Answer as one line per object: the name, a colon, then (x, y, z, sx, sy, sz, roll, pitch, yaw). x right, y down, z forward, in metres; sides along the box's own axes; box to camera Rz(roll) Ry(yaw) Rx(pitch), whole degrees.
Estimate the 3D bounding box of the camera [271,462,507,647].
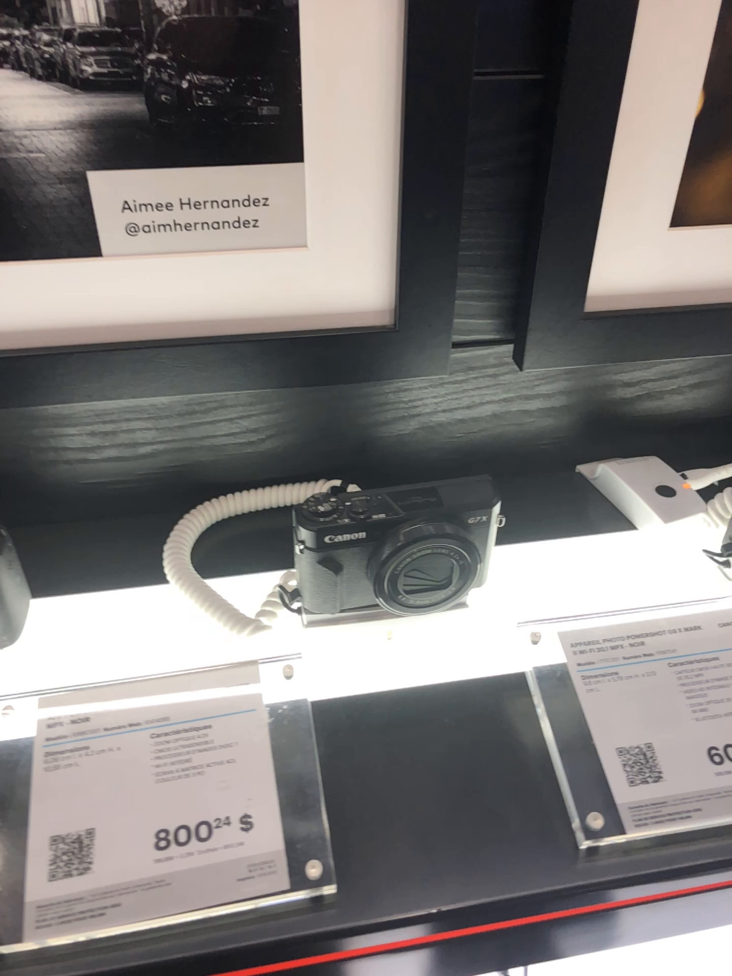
camera: (0.010, 0.034, 0.414, 0.110, 0.079, 0.030, -7, 36, -11)
